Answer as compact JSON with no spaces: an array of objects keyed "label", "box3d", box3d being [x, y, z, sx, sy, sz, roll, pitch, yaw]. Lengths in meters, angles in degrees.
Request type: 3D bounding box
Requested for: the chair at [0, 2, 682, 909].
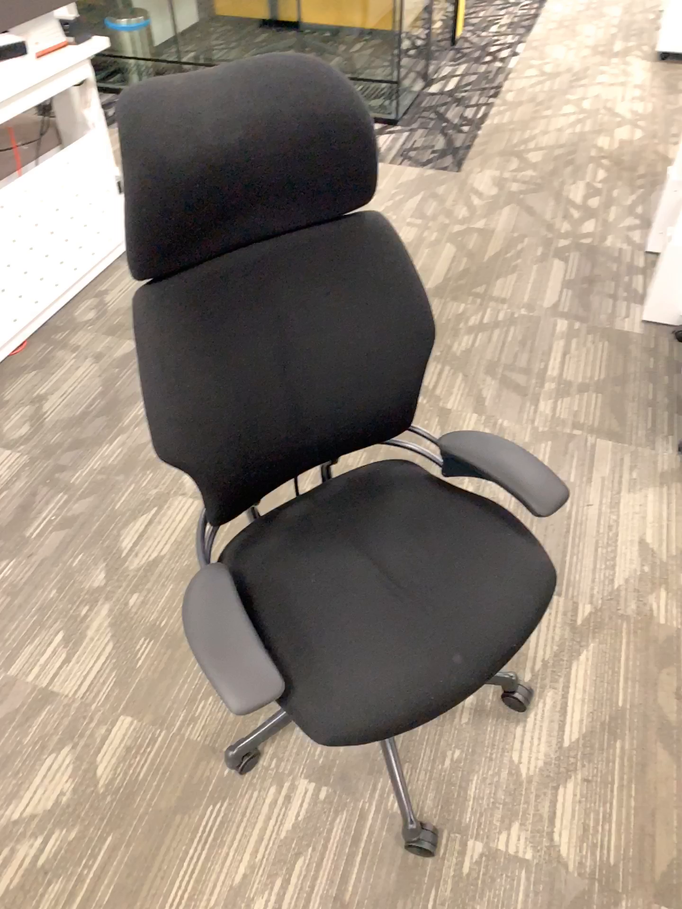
[{"label":"chair","box3d":[0.036,0.054,1.084,0.692,1.091,0.774,-28,50,-24]}]
